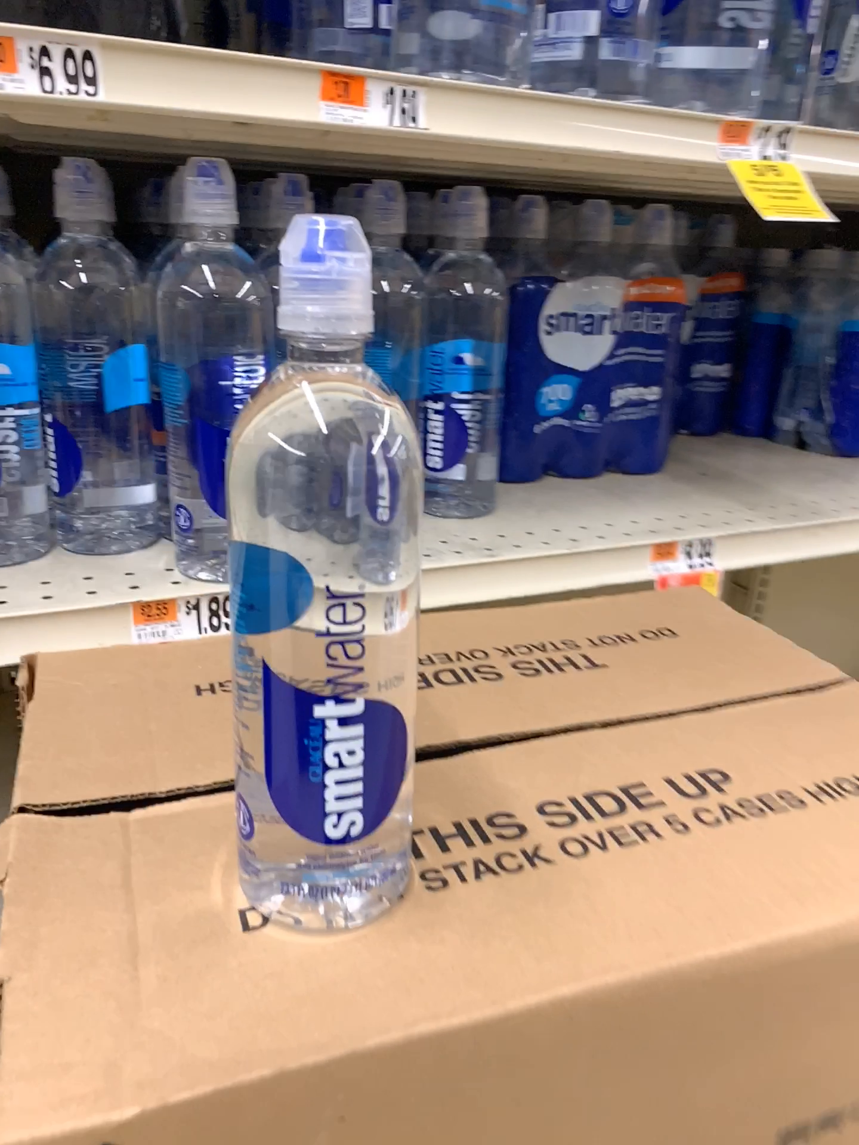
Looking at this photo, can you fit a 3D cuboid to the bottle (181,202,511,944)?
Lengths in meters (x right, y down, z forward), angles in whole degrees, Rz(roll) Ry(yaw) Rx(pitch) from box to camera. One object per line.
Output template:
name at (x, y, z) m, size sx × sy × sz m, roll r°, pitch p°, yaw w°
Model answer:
bottle at (-0.038, 0.000, 0.327) m, size 0.090 × 0.249 × 0.090 m, roll 2°, pitch 21°, yaw -1°
